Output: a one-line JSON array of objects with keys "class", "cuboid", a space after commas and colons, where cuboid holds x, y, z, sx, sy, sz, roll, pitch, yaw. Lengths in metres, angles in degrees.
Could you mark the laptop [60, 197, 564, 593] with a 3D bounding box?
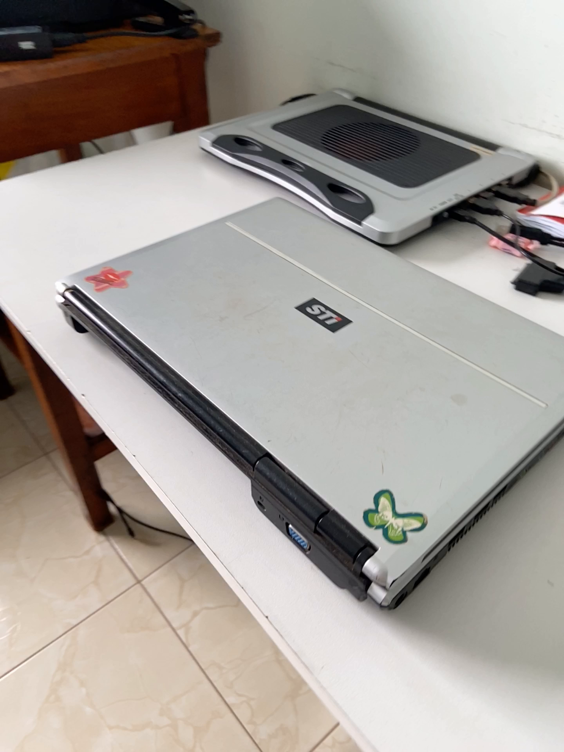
[{"class": "laptop", "cuboid": [0.023, -0.038, 0.425, 0.235, 0.004, 0.339, -31, 50, -30]}]
